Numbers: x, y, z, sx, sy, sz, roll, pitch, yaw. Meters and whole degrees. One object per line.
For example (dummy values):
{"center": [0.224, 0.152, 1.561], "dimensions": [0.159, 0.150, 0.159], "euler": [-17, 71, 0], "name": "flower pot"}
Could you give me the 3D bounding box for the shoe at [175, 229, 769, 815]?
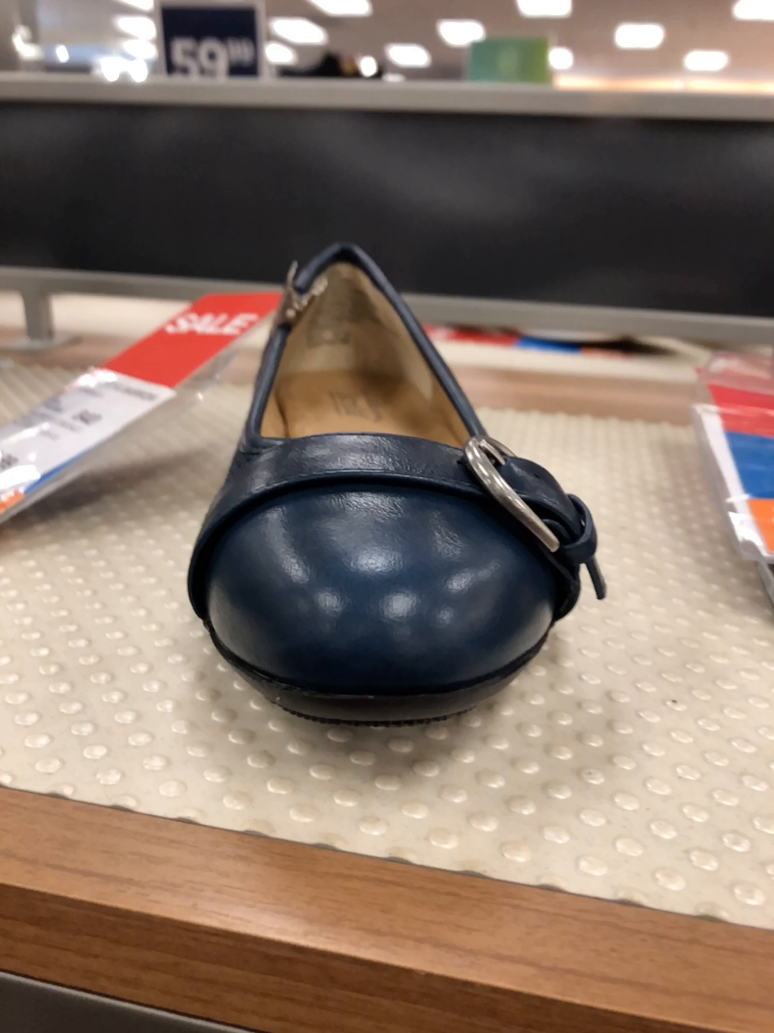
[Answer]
{"center": [-0.004, -0.037, 0.270], "dimensions": [0.088, 0.081, 0.280], "euler": [0, 21, -7], "name": "shoe"}
